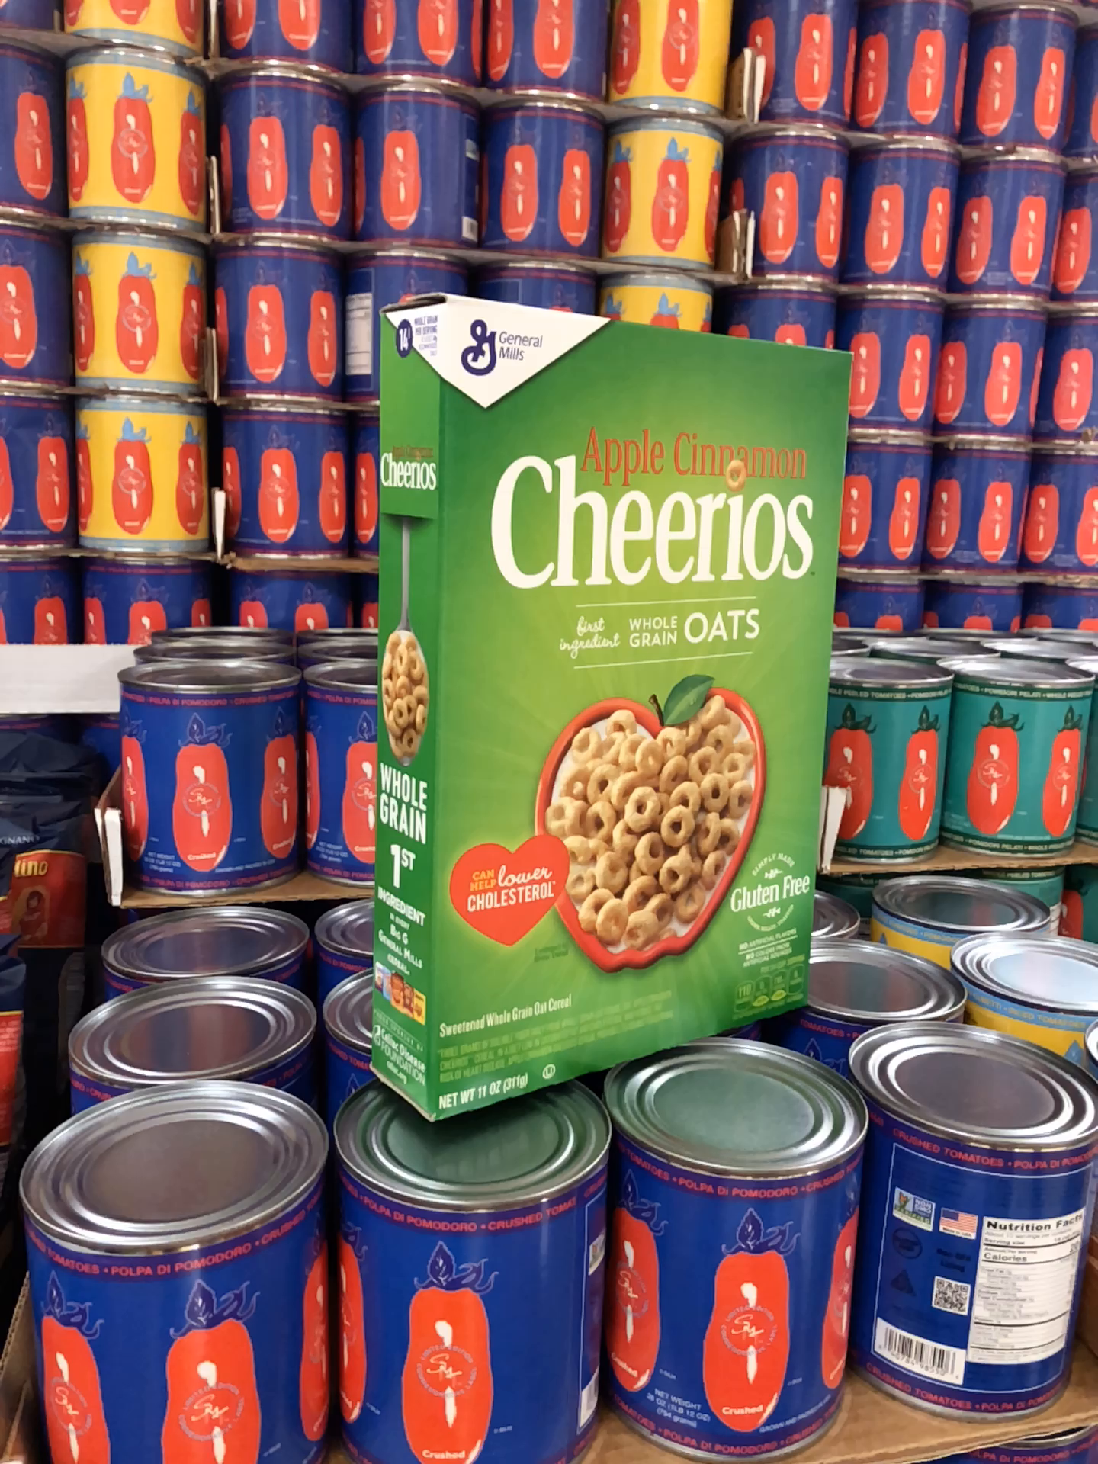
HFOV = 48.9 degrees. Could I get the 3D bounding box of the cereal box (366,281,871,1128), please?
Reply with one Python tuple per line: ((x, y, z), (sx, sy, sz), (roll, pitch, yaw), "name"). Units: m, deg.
((0.030, -0.013, 0.484), (0.200, 0.289, 0.050), (-5, 13, -35), "cereal box")
